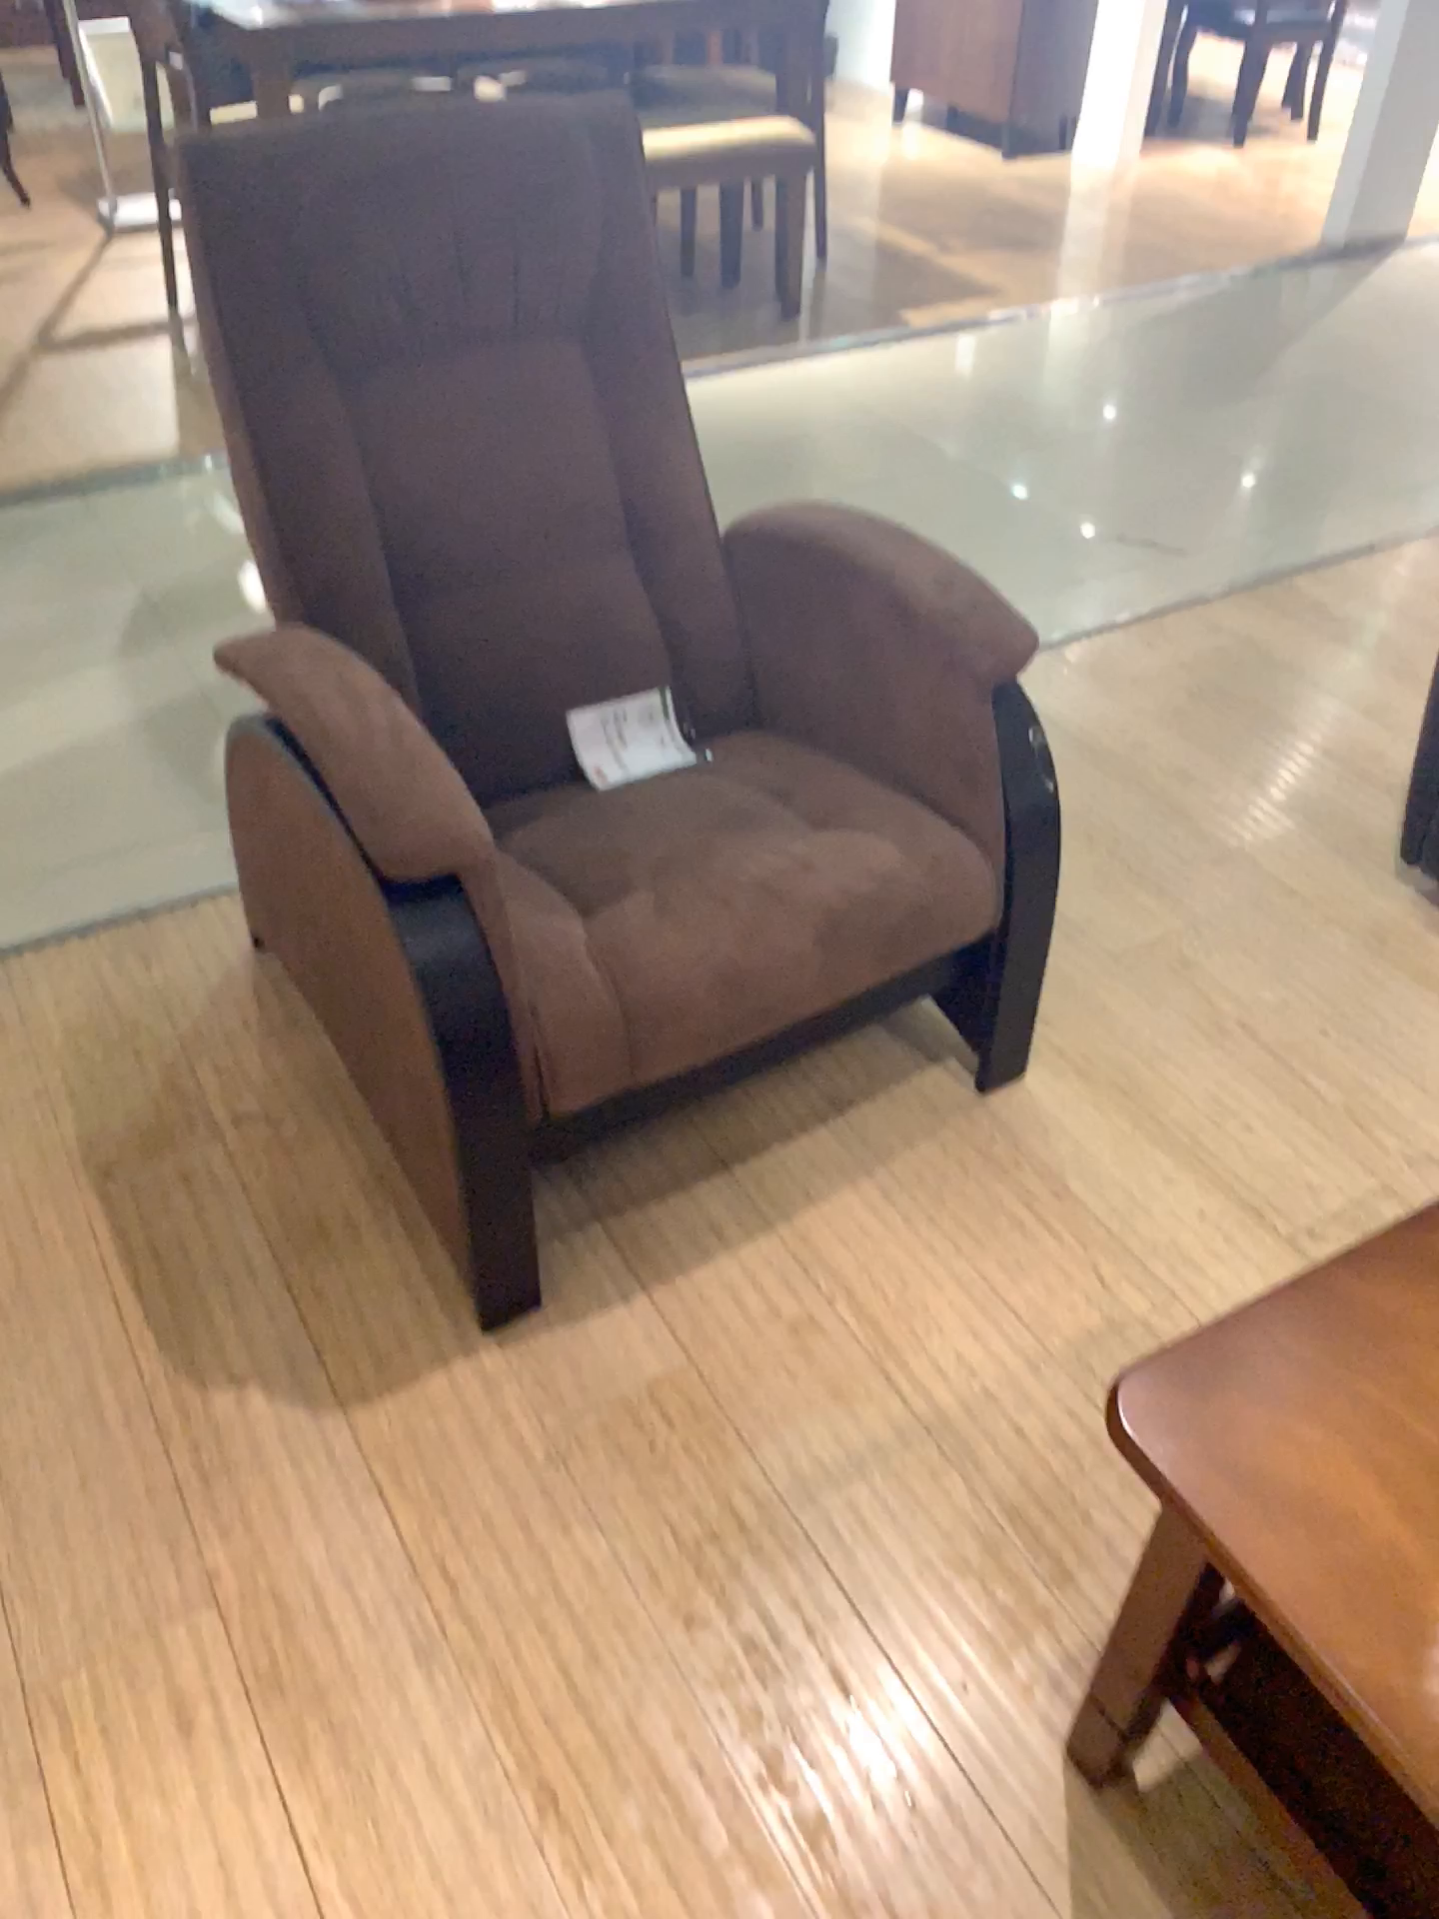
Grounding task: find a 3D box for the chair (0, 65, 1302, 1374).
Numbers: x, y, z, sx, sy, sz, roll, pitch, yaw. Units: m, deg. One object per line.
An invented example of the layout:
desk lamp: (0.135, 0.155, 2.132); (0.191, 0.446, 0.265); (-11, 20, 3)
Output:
chair: (-0.148, -0.353, 1.613); (0.801, 0.887, 1.003); (-22, 45, -25)
